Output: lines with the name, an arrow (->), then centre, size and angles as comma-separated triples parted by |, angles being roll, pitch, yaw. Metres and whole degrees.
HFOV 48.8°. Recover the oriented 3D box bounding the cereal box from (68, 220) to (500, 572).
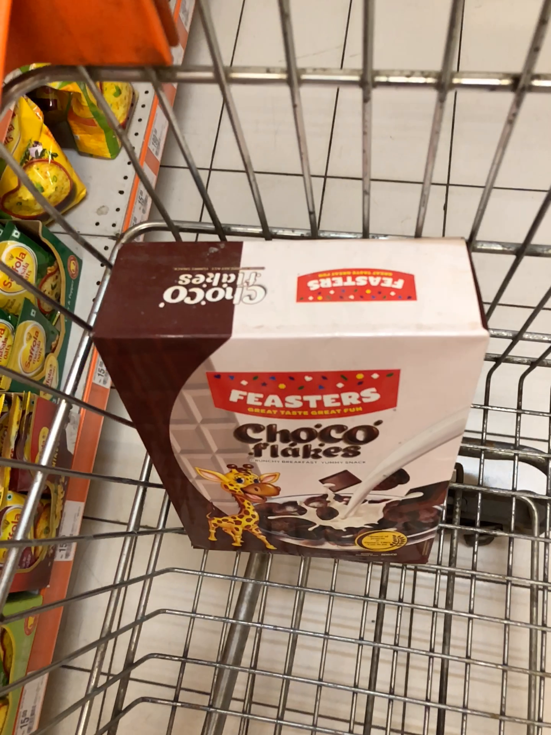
cereal box -> 0.013, 0.036, 0.352 | 0.170, 0.239, 0.070 | 0, 51, 7
